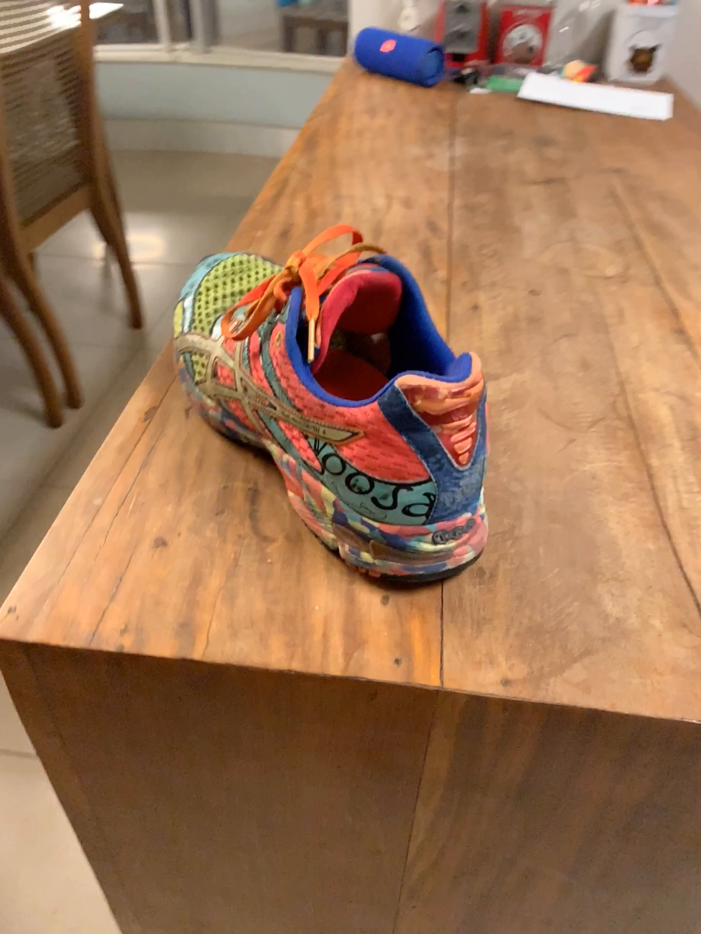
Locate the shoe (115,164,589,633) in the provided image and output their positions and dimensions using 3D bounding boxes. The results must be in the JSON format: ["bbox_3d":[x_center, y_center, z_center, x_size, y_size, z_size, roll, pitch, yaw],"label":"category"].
[{"bbox_3d":[-0.026,-0.069,0.429,0.110,0.118,0.311,-21,44,-25],"label":"shoe"}]
